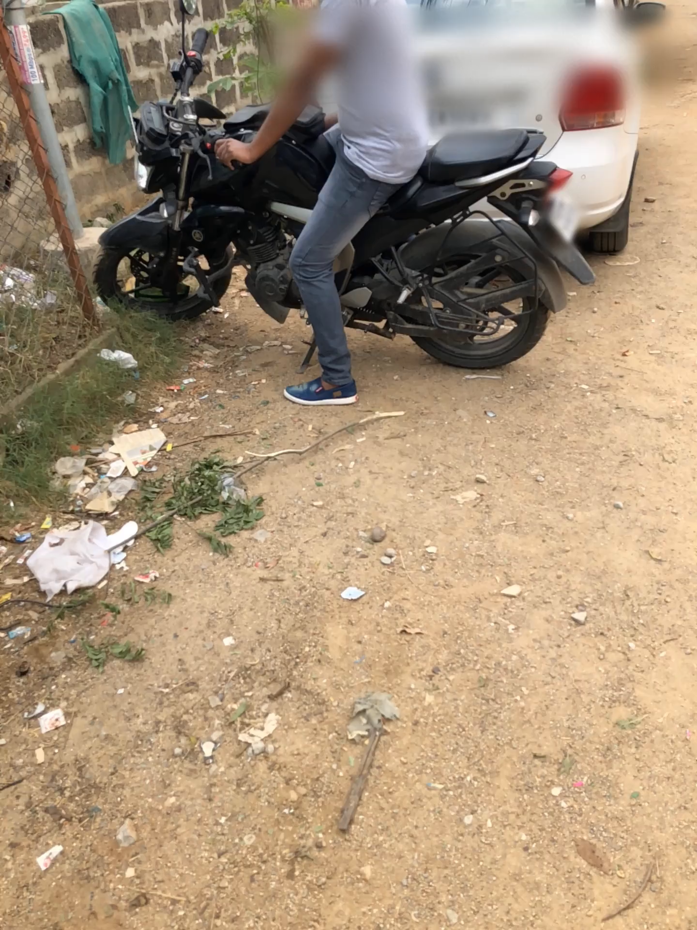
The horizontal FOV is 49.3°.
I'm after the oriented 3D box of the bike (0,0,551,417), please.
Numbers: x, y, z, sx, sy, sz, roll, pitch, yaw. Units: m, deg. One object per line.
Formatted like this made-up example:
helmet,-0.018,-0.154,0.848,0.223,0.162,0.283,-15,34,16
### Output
bike,-0.227,-0.851,2.340,1.617,1.095,0.530,5,33,9
